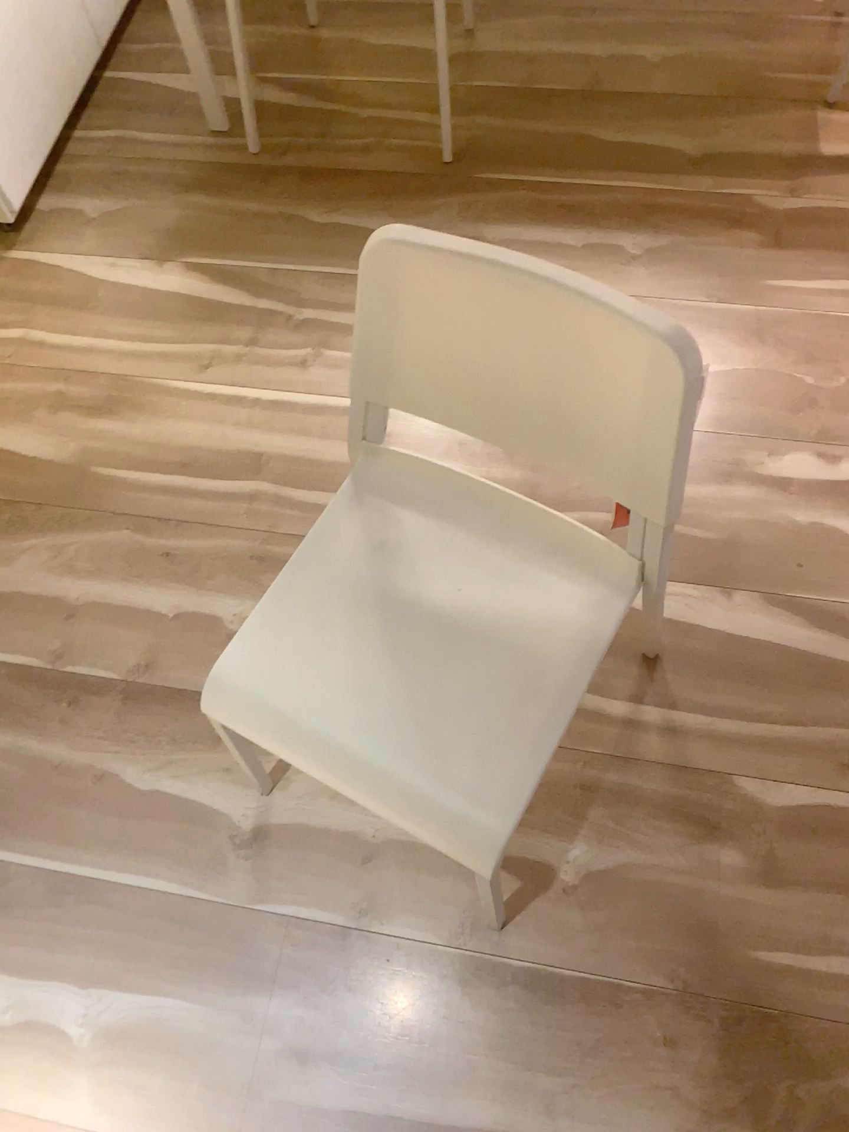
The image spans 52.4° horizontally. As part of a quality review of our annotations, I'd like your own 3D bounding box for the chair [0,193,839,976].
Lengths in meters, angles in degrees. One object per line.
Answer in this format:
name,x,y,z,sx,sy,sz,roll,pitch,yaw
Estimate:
chair,0.036,0.089,1.055,0.520,0.709,0.550,25,68,16
